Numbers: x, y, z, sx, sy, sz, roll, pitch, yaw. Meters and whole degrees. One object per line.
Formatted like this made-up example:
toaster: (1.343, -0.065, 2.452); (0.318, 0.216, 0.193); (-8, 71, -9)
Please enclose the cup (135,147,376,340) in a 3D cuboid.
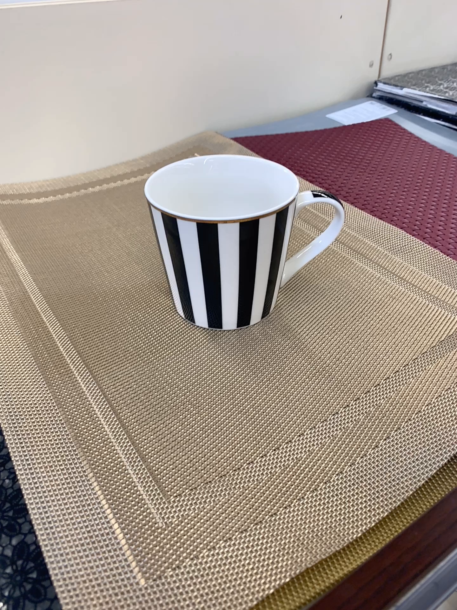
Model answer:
cup: (0.012, -0.046, 0.315); (0.130, 0.080, 0.101); (-6, 34, -4)
